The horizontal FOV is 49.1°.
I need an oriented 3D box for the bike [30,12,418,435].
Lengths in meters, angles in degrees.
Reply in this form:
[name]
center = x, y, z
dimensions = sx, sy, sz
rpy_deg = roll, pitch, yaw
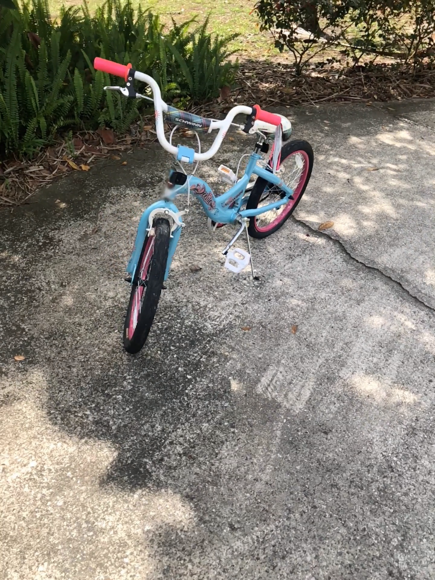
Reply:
[bike]
center = 0.139, -0.395, 1.779
dimensions = 0.700, 0.923, 1.315
rpy_deg = 21, 43, 24
